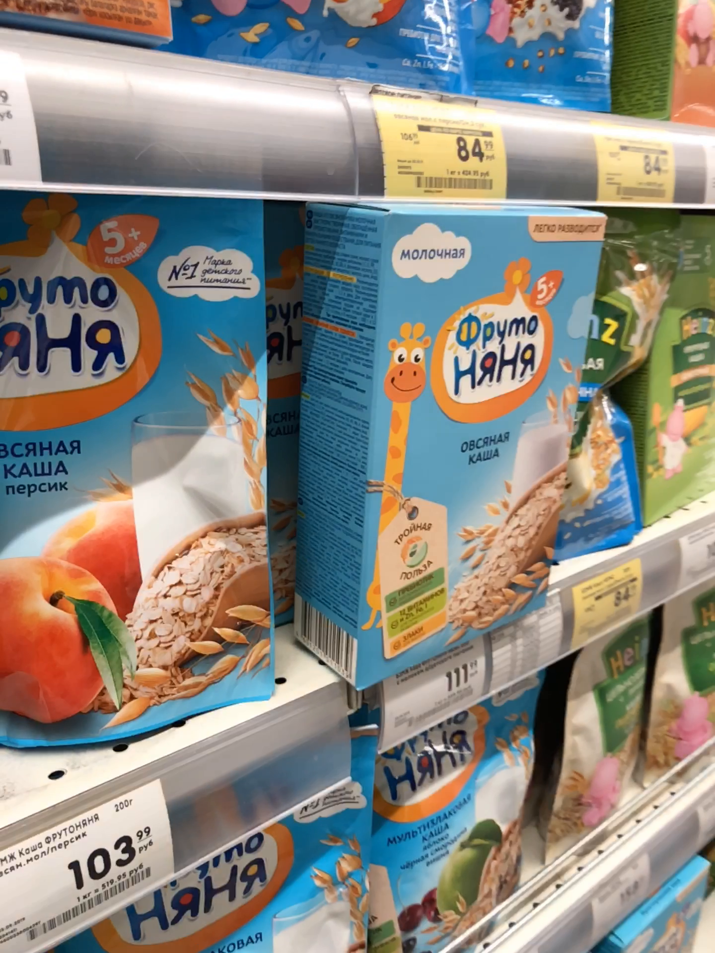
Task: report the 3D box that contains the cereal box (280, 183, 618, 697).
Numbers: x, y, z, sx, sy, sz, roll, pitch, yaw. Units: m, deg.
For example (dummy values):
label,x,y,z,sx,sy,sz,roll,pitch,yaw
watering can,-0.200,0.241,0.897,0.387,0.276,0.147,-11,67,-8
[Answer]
label,x,y,z,sx,sy,sz,roll,pitch,yaw
cereal box,0.039,-0.022,0.355,0.140,0.199,0.050,-14,26,-38
